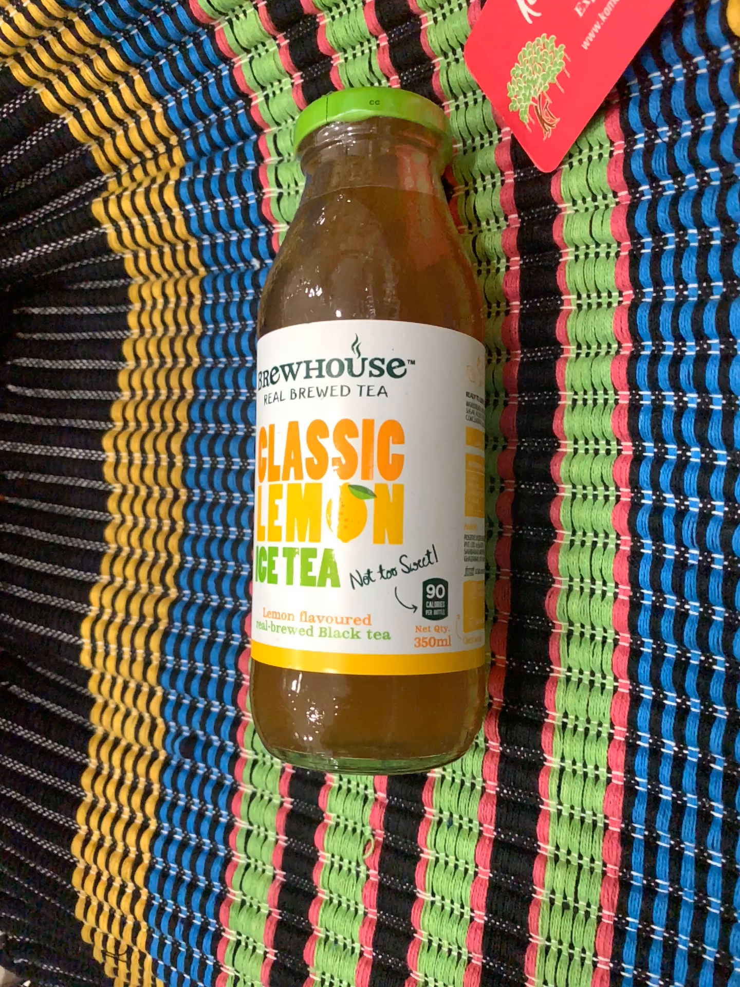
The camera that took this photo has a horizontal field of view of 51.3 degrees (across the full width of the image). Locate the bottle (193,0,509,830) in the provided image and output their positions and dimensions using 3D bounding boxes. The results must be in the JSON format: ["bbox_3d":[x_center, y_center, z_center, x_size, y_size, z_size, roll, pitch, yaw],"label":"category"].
[{"bbox_3d":[-0.003,-0.020,0.196,0.060,0.050,0.180,-2,84,30],"label":"bottle"}]
